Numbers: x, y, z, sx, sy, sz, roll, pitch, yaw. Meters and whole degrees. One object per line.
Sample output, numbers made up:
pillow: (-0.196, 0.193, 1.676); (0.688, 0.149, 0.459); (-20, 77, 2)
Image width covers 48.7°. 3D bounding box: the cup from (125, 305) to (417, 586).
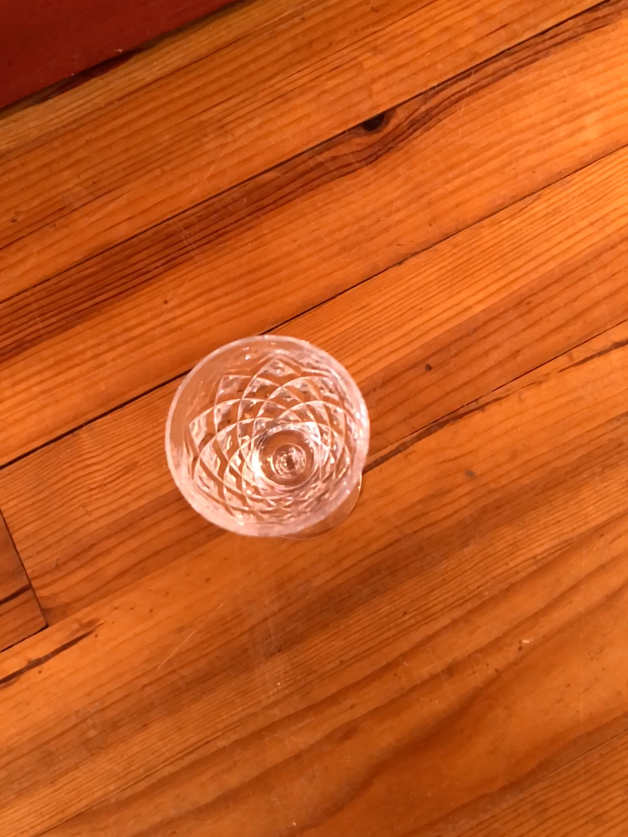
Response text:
cup: (-0.007, 0.017, 0.237); (0.059, 0.114, 0.056); (-1, 78, 4)
